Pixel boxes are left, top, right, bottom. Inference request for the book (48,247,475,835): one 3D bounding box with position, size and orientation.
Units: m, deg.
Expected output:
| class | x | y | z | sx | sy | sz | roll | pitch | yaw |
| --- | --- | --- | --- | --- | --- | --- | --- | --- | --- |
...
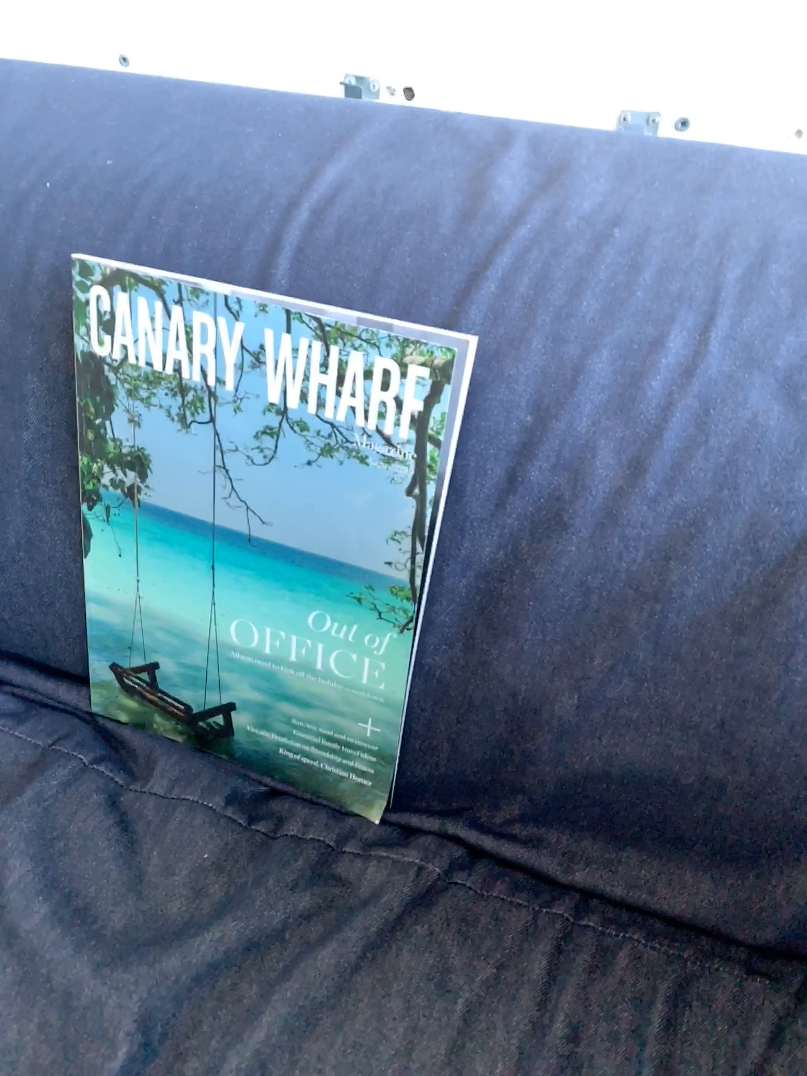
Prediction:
| class | x | y | z | sx | sy | sz | roll | pitch | yaw |
| --- | --- | --- | --- | --- | --- | --- | --- | --- | --- |
| book | -0.087 | 0.008 | 0.434 | 0.205 | 0.273 | 0.030 | 16 | 26 | 16 |
